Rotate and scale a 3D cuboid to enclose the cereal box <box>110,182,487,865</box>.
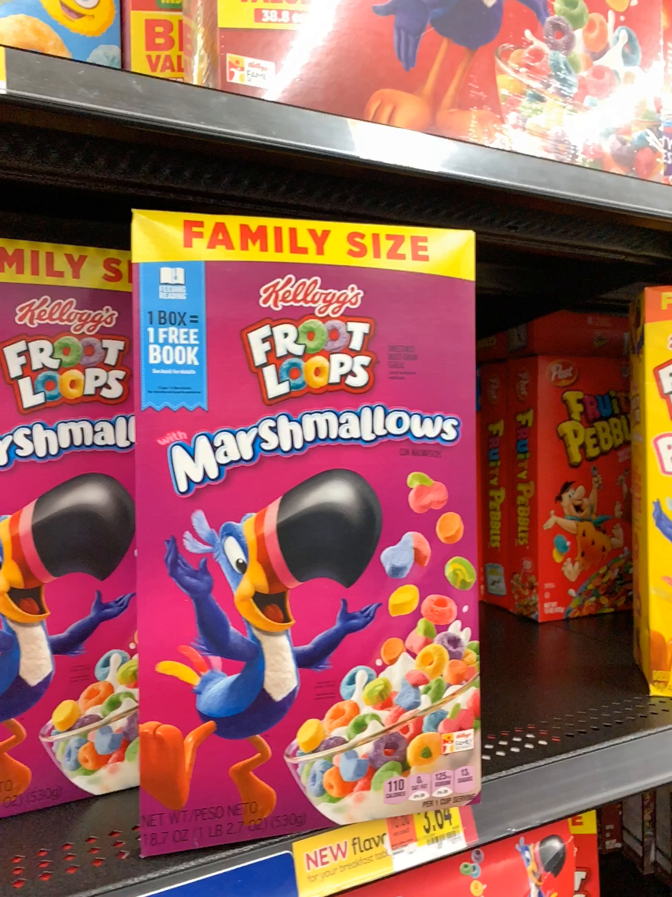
[{"bbox_3d":[-0.023,0.035,0.409,0.200,0.340,0.080,-1,0,-14],"label":"cereal box"}]
